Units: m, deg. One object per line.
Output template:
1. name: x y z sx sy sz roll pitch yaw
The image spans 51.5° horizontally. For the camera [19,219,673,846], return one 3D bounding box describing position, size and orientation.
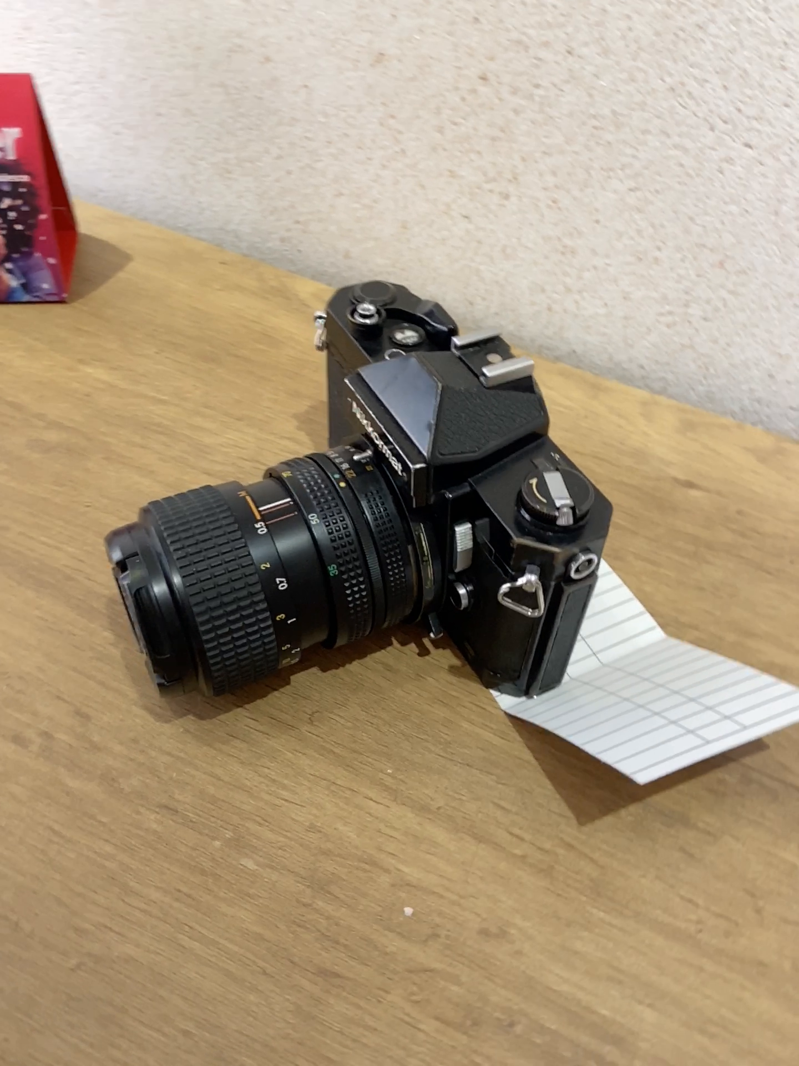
1. camera: -0.029 -0.016 0.272 0.140 0.089 0.161 -16 49 -19
